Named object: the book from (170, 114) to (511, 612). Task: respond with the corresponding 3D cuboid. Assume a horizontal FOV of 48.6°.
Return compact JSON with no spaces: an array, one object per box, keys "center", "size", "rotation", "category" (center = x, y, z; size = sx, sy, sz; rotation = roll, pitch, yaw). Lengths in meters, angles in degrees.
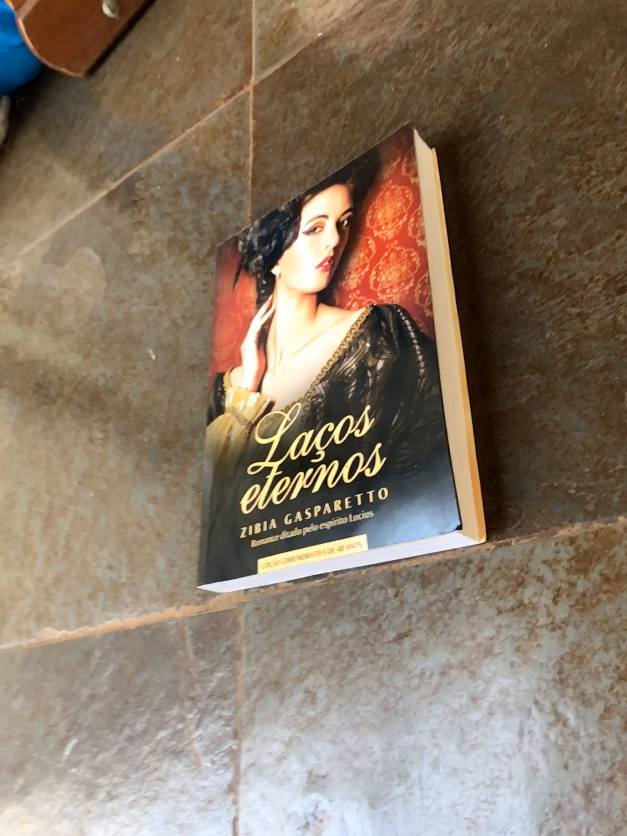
[{"center":[0.001,-0.024,0.330],"size":[0.154,0.027,0.205],"rotation":[-20,58,33],"category":"book"}]
